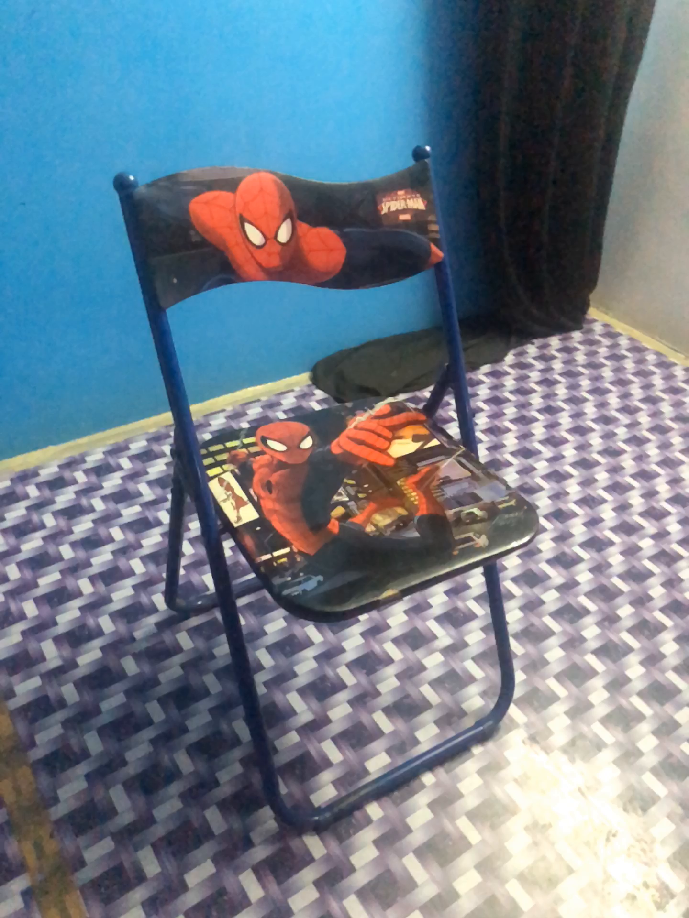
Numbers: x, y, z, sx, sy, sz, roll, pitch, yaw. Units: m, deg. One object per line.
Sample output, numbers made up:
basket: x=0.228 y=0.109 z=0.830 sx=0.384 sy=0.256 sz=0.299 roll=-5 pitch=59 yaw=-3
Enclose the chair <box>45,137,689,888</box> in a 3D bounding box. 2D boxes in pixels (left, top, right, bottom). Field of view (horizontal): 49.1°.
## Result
chair: x=-0.008 y=0.020 z=1.007 sx=0.512 sy=0.686 sz=0.561 roll=-17 pitch=42 yaw=-29
